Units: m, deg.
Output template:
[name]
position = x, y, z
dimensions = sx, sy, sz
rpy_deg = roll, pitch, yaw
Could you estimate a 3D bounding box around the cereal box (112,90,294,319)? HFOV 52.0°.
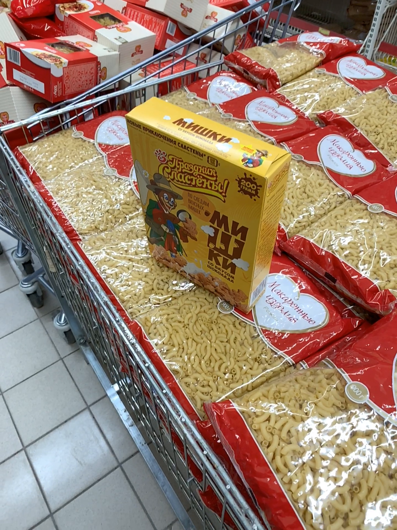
[cereal box]
position = 0.005, -0.056, 0.455
dimensions = 0.171, 0.218, 0.050
rpy_deg = 31, 60, 24
